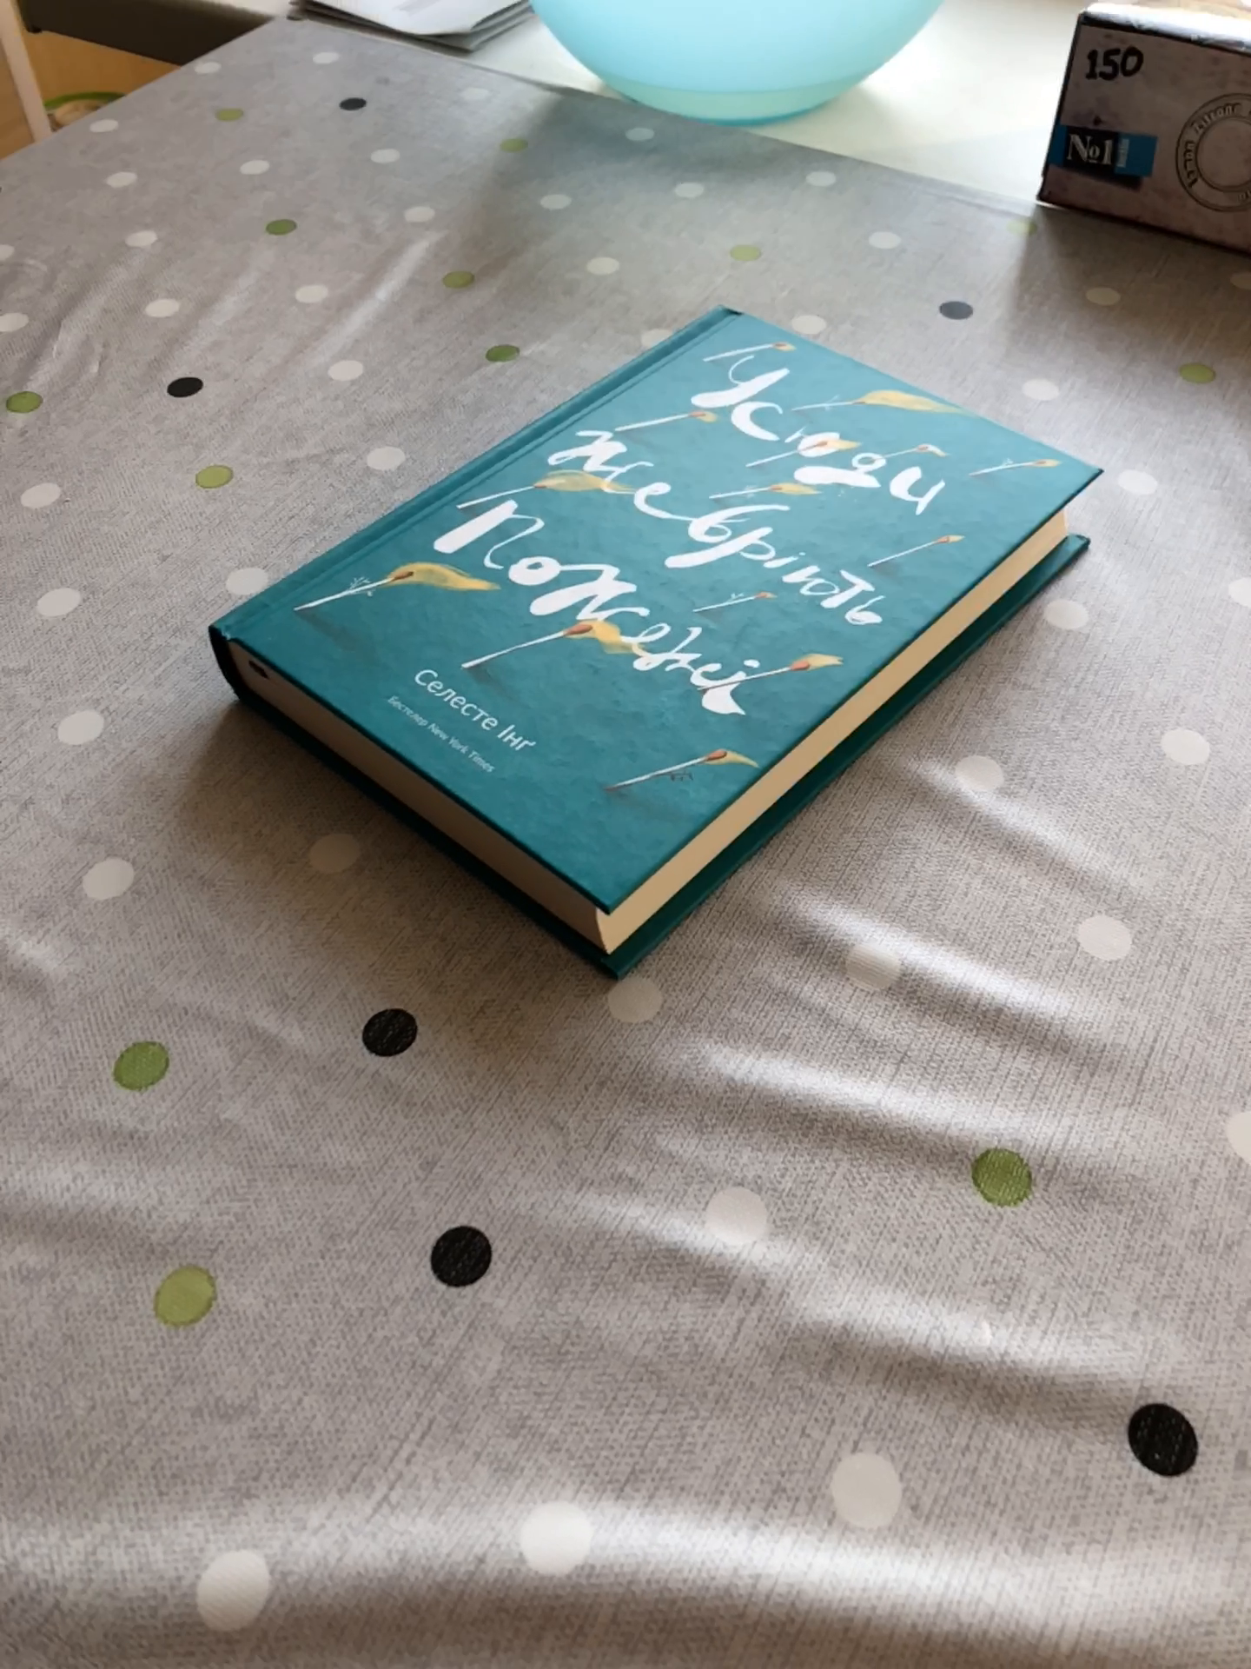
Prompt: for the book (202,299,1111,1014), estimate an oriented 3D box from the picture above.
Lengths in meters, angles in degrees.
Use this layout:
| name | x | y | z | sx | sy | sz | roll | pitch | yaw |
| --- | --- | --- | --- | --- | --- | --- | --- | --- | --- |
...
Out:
| name | x | y | z | sx | sy | sz | roll | pitch | yaw |
| --- | --- | --- | --- | --- | --- | --- | --- | --- | --- |
| book | 0.015 | -0.068 | 0.392 | 0.144 | 0.040 | 0.214 | 34 | 58 | 26 |
